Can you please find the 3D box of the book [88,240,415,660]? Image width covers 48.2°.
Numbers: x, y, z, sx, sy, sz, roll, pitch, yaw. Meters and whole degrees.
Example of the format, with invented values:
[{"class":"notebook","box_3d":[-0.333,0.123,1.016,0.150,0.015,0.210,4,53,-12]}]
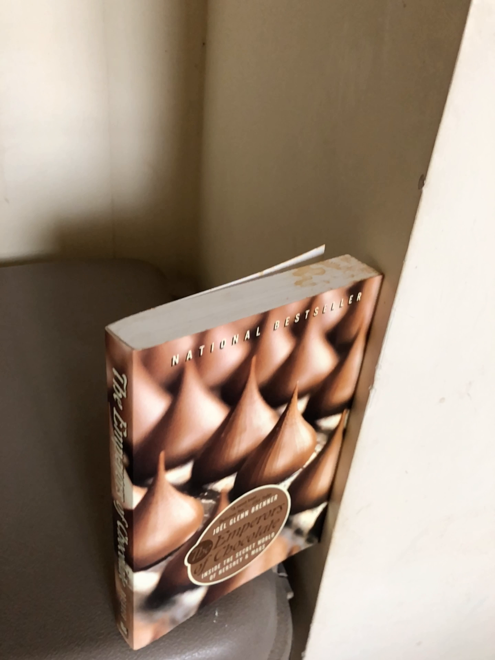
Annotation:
[{"class":"book","box_3d":[0.003,0.065,0.302,0.160,0.199,0.040,-19,39,-35]}]
